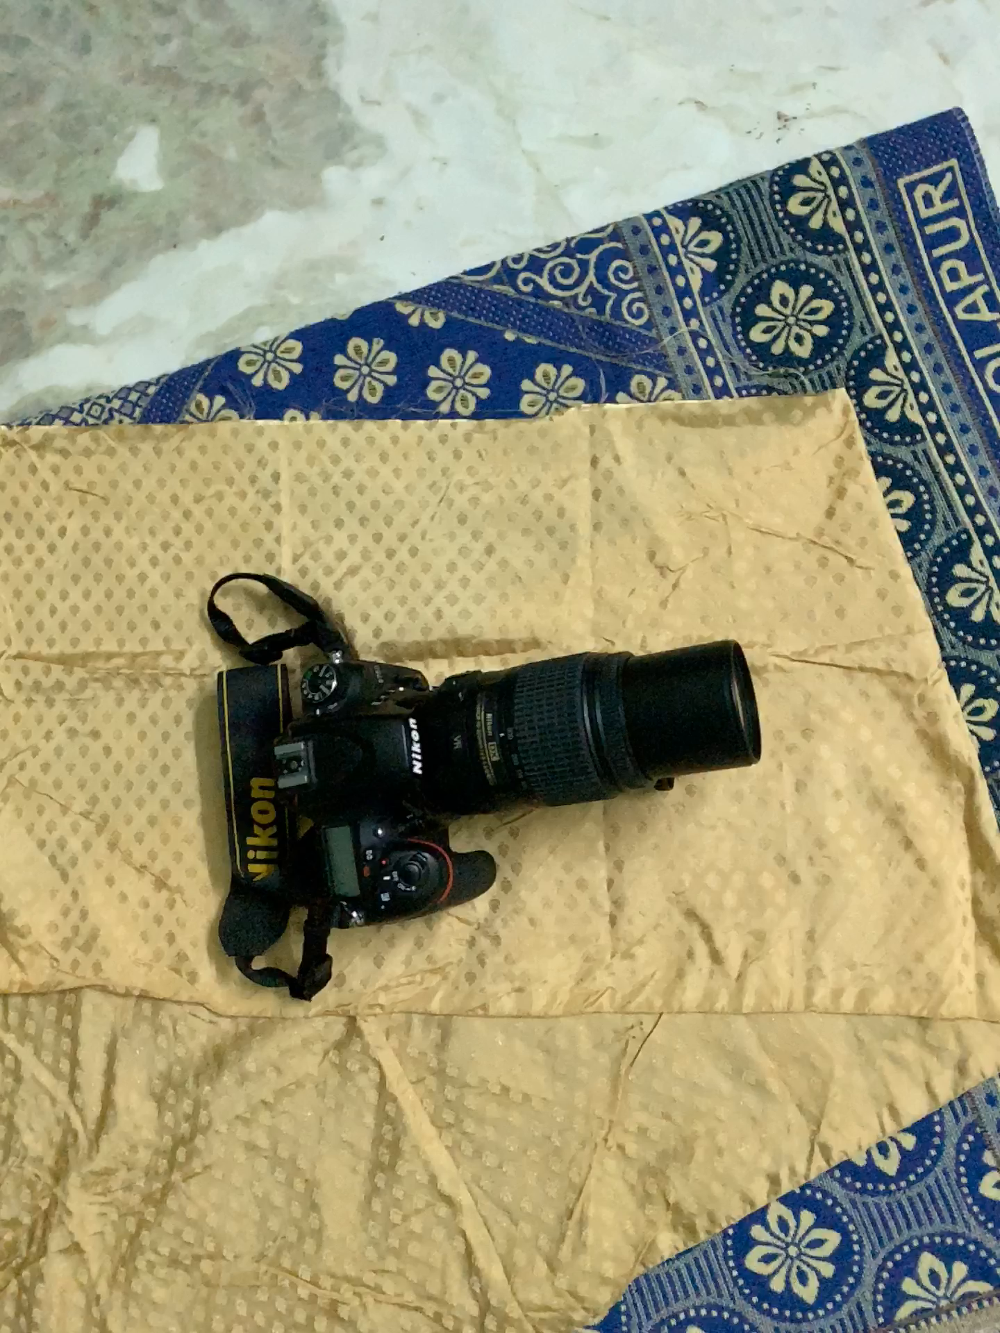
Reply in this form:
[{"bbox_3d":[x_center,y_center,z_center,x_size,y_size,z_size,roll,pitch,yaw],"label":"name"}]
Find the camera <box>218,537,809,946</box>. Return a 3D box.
[{"bbox_3d":[0.018,0.048,0.515,0.240,0.180,0.140,-10,80,17],"label":"camera"}]
